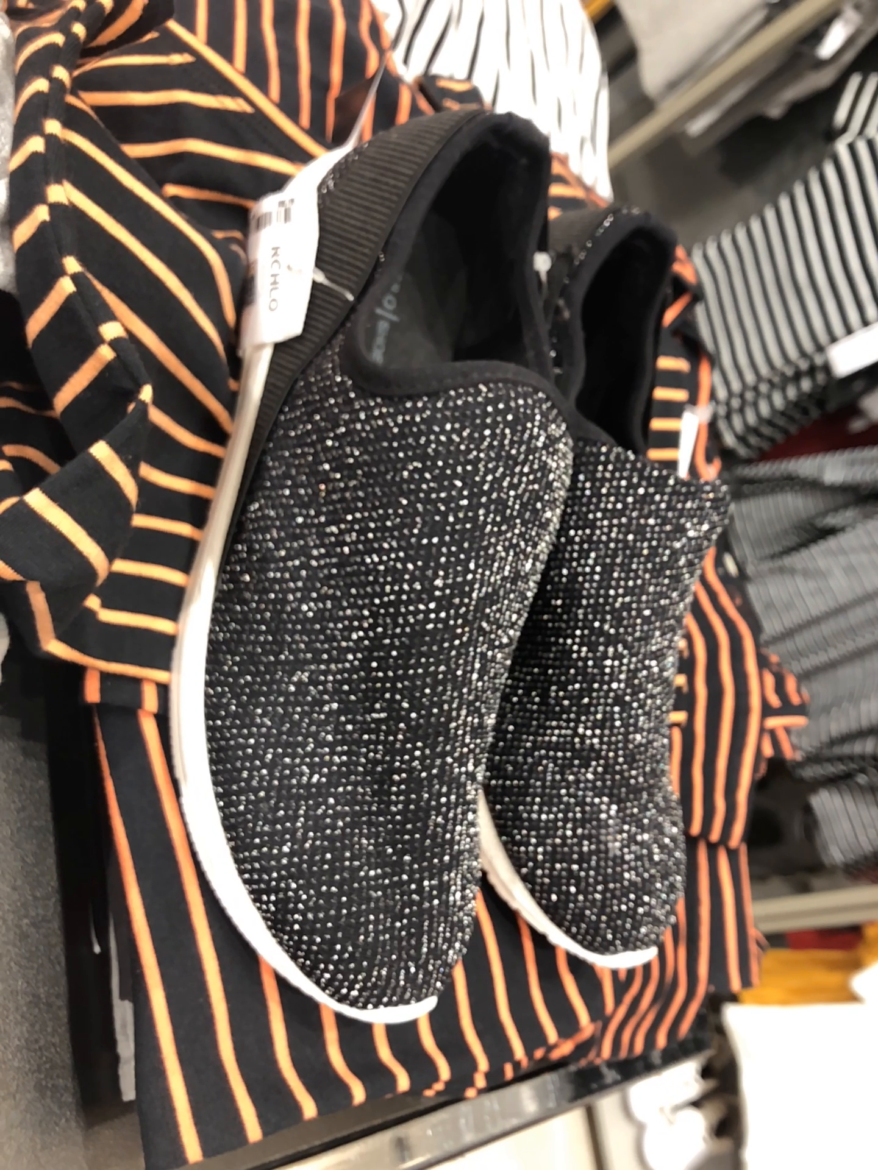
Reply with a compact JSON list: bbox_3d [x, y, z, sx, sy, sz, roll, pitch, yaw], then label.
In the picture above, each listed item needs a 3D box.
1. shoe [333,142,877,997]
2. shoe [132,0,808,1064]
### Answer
[{"bbox_3d":[0.055,0.000,0.338,0.101,0.109,0.240,5,67,-44],"label":"shoe"},{"bbox_3d":[-0.005,-0.011,0.271,0.101,0.109,0.240,8,65,-43],"label":"shoe"}]
